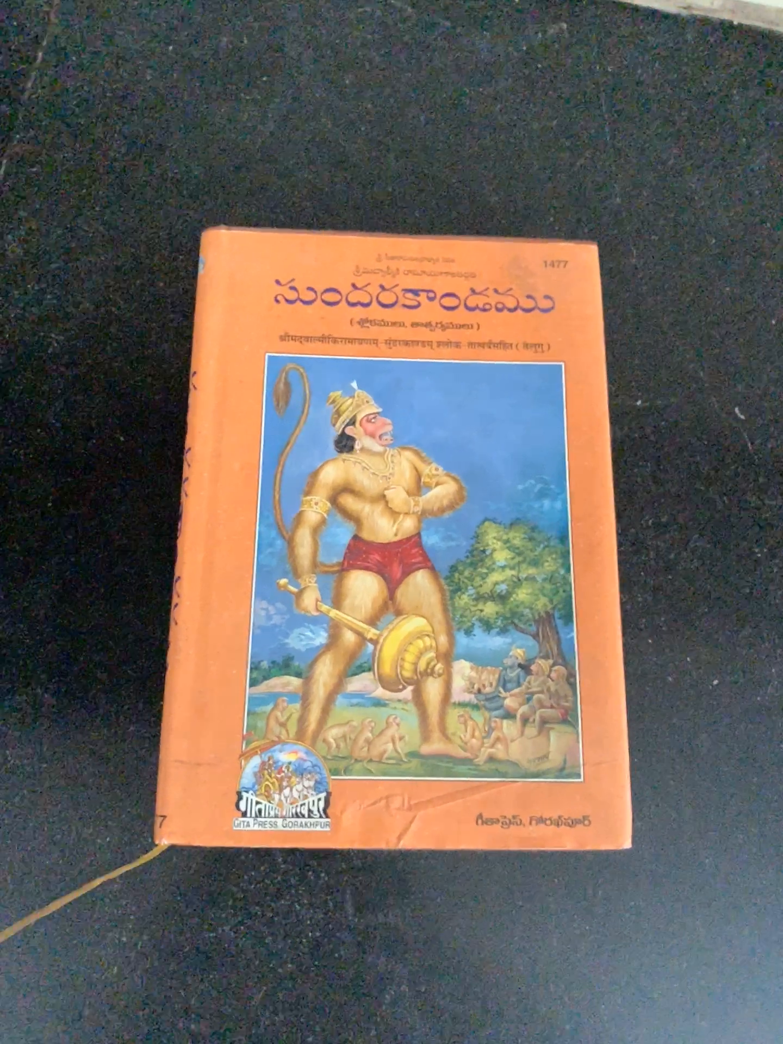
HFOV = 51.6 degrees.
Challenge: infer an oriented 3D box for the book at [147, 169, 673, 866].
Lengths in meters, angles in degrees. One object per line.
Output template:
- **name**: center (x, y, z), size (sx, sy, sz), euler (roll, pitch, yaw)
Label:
- **book**: center (0.011, -0.011, 0.365), size (0.200, 0.040, 0.301), euler (2, 75, -3)
